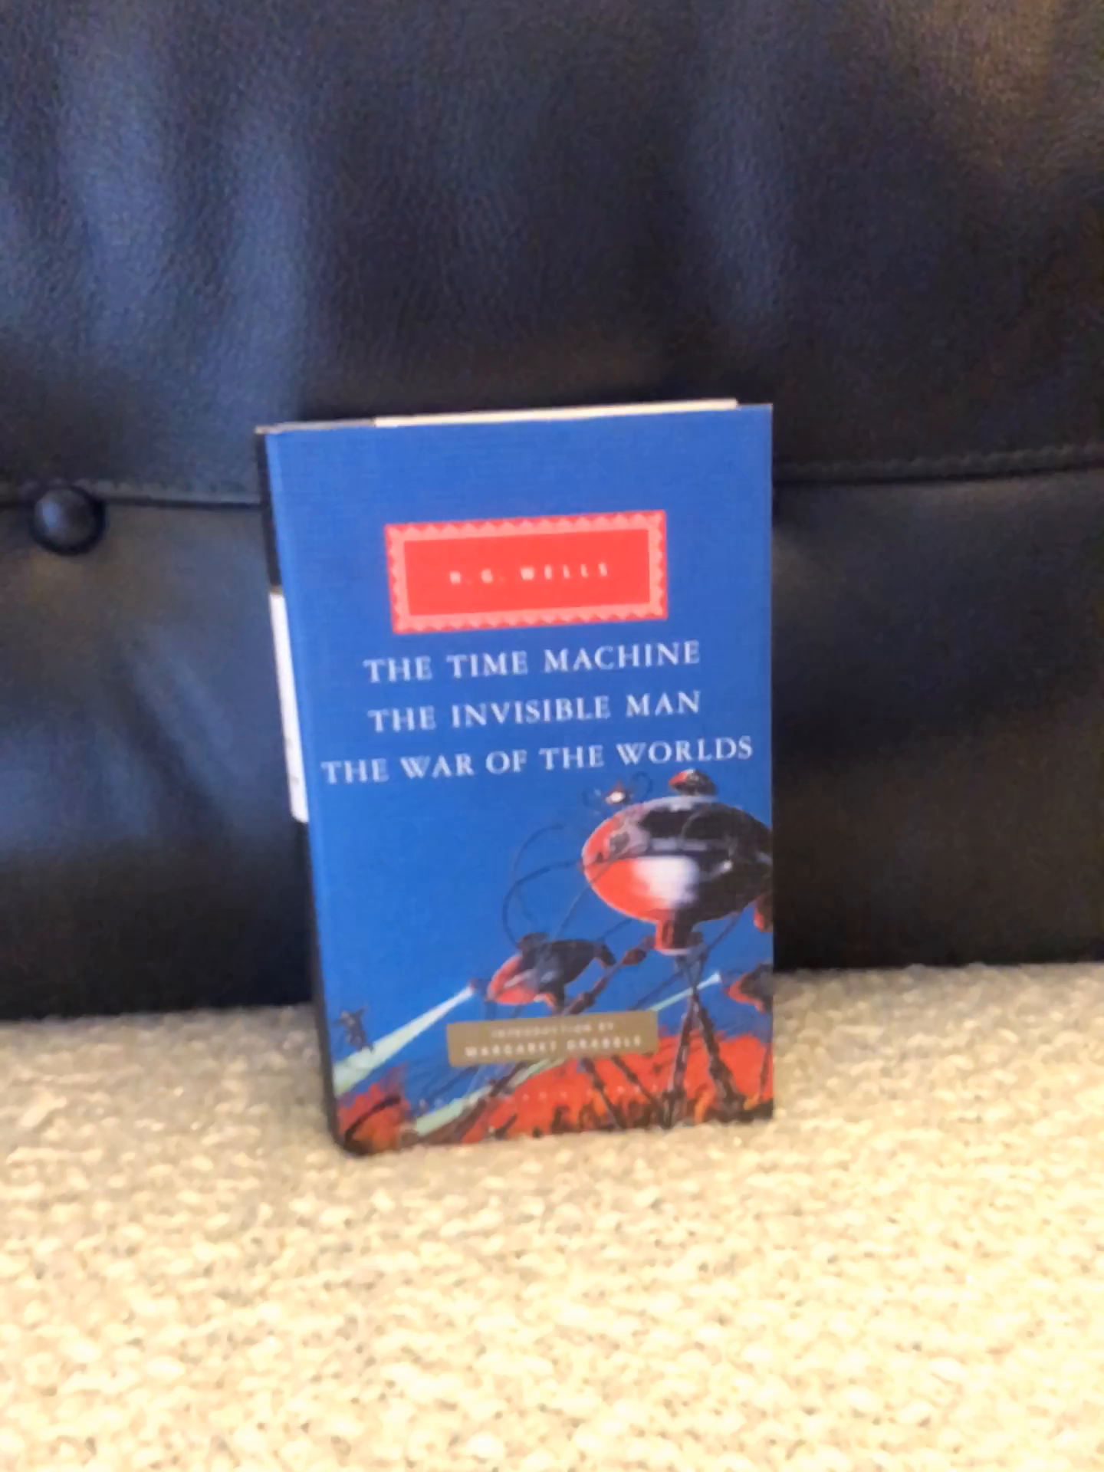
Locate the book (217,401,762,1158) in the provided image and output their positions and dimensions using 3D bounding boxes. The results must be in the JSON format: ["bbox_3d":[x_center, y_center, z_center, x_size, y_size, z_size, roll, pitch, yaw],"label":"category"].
[{"bbox_3d":[-0.012,0.016,0.384,0.148,0.225,0.034,-4,16,-4],"label":"book"}]
